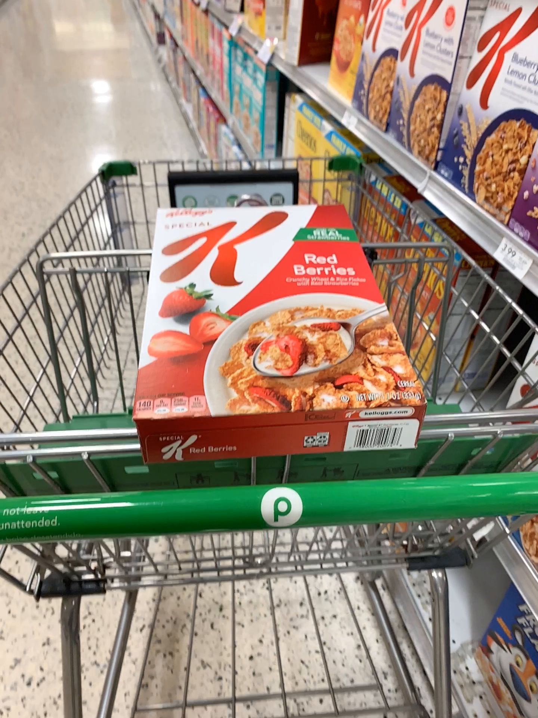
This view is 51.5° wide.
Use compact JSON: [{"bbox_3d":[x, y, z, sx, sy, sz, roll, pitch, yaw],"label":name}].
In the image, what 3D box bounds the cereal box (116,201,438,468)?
[{"bbox_3d":[-0.006,-0.044,0.466,0.200,0.049,0.283,-2,41,-5],"label":"cereal box"}]
